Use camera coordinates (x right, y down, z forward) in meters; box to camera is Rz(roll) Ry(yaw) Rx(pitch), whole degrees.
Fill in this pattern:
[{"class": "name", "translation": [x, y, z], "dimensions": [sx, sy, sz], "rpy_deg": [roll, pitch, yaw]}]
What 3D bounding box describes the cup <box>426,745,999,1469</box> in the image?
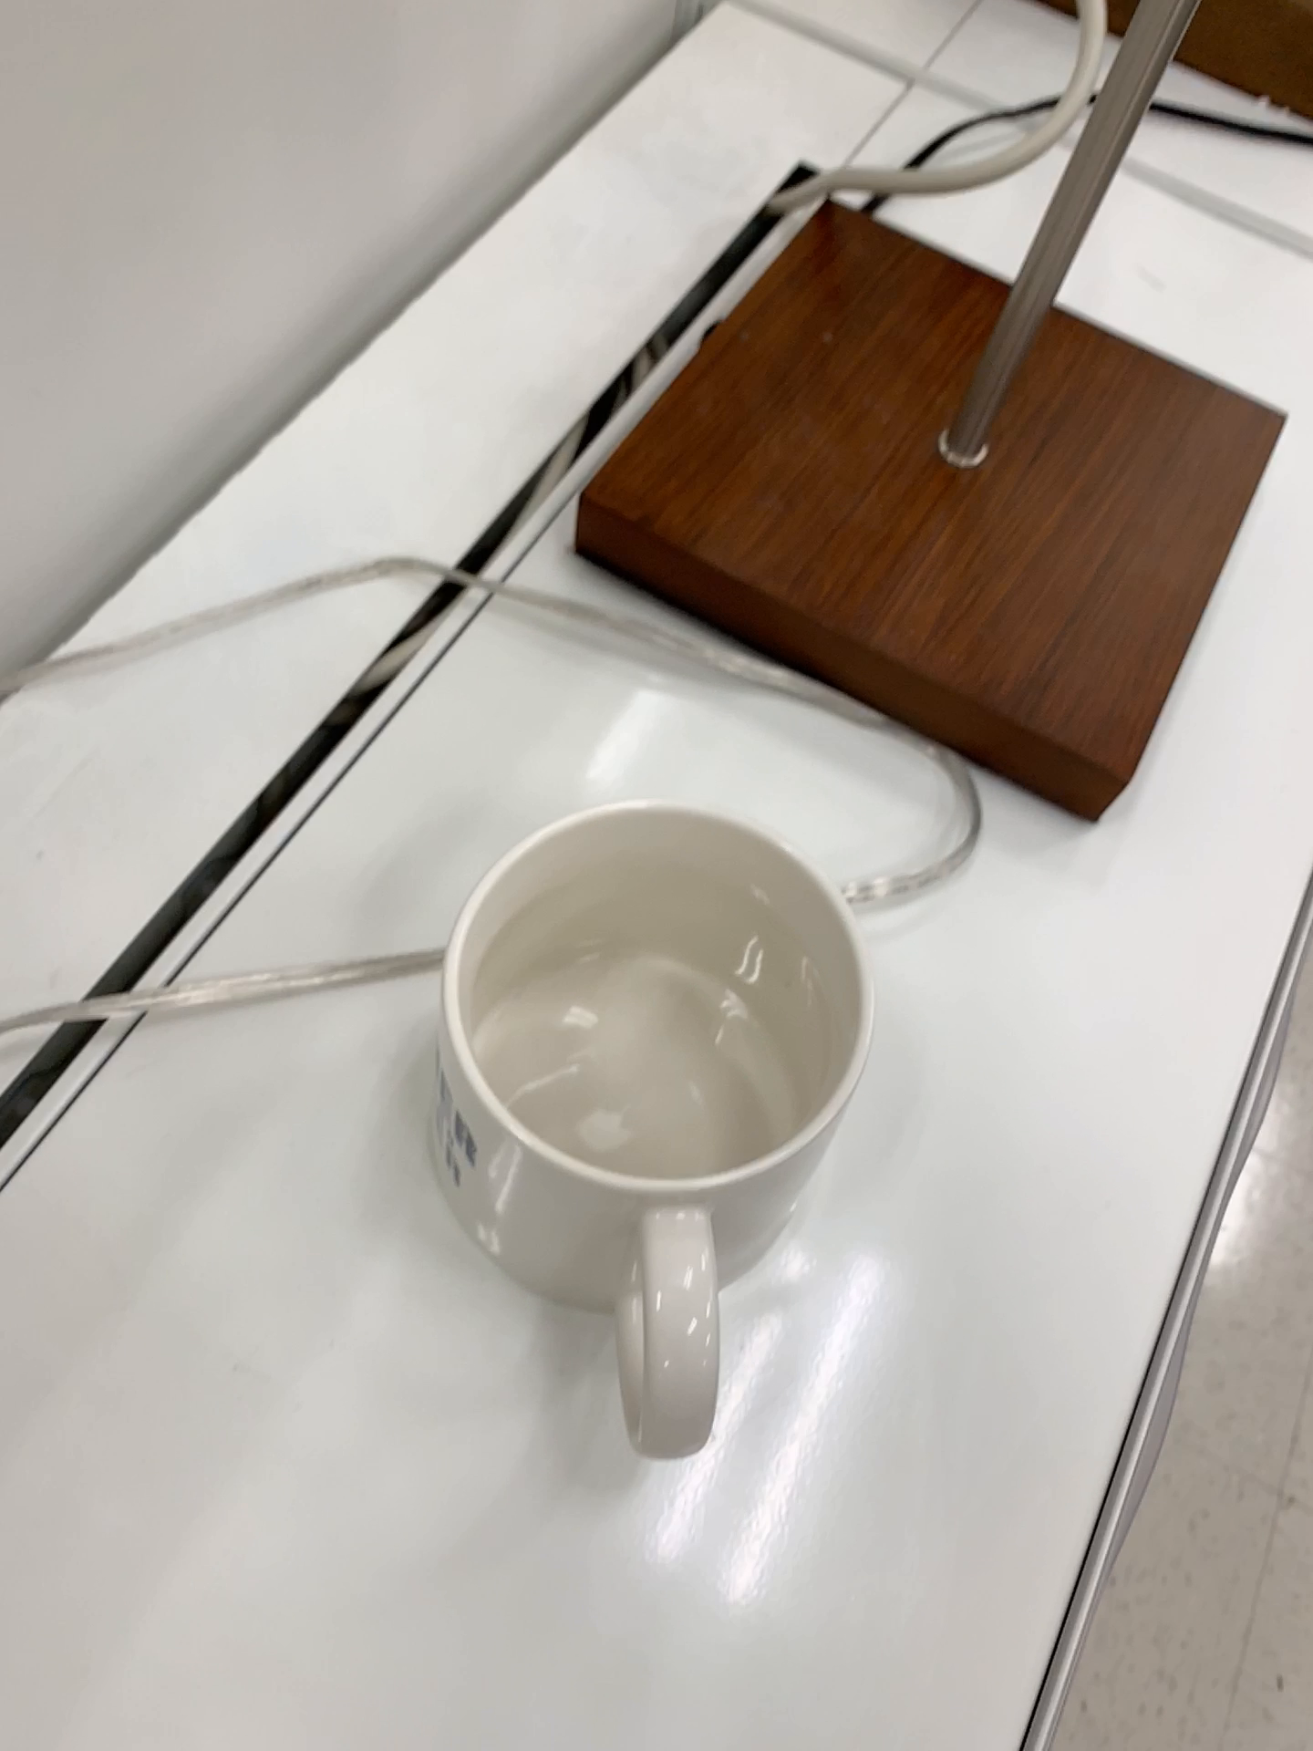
[{"class": "cup", "translation": [0.001, 0.066, 0.371], "dimensions": [0.120, 0.120, 0.160], "rpy_deg": [1, 62, -8]}]
